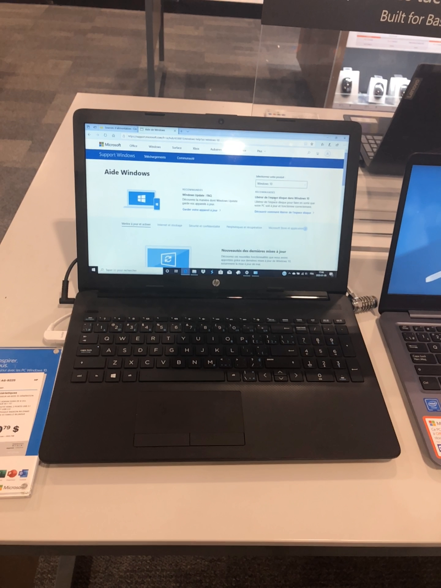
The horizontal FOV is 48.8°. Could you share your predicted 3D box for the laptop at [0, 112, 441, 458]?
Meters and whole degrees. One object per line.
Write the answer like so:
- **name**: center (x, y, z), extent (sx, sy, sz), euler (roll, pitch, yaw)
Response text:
- **laptop**: center (0.001, -0.031, 0.549), extent (0.356, 0.195, 0.361), euler (1, 43, -4)
